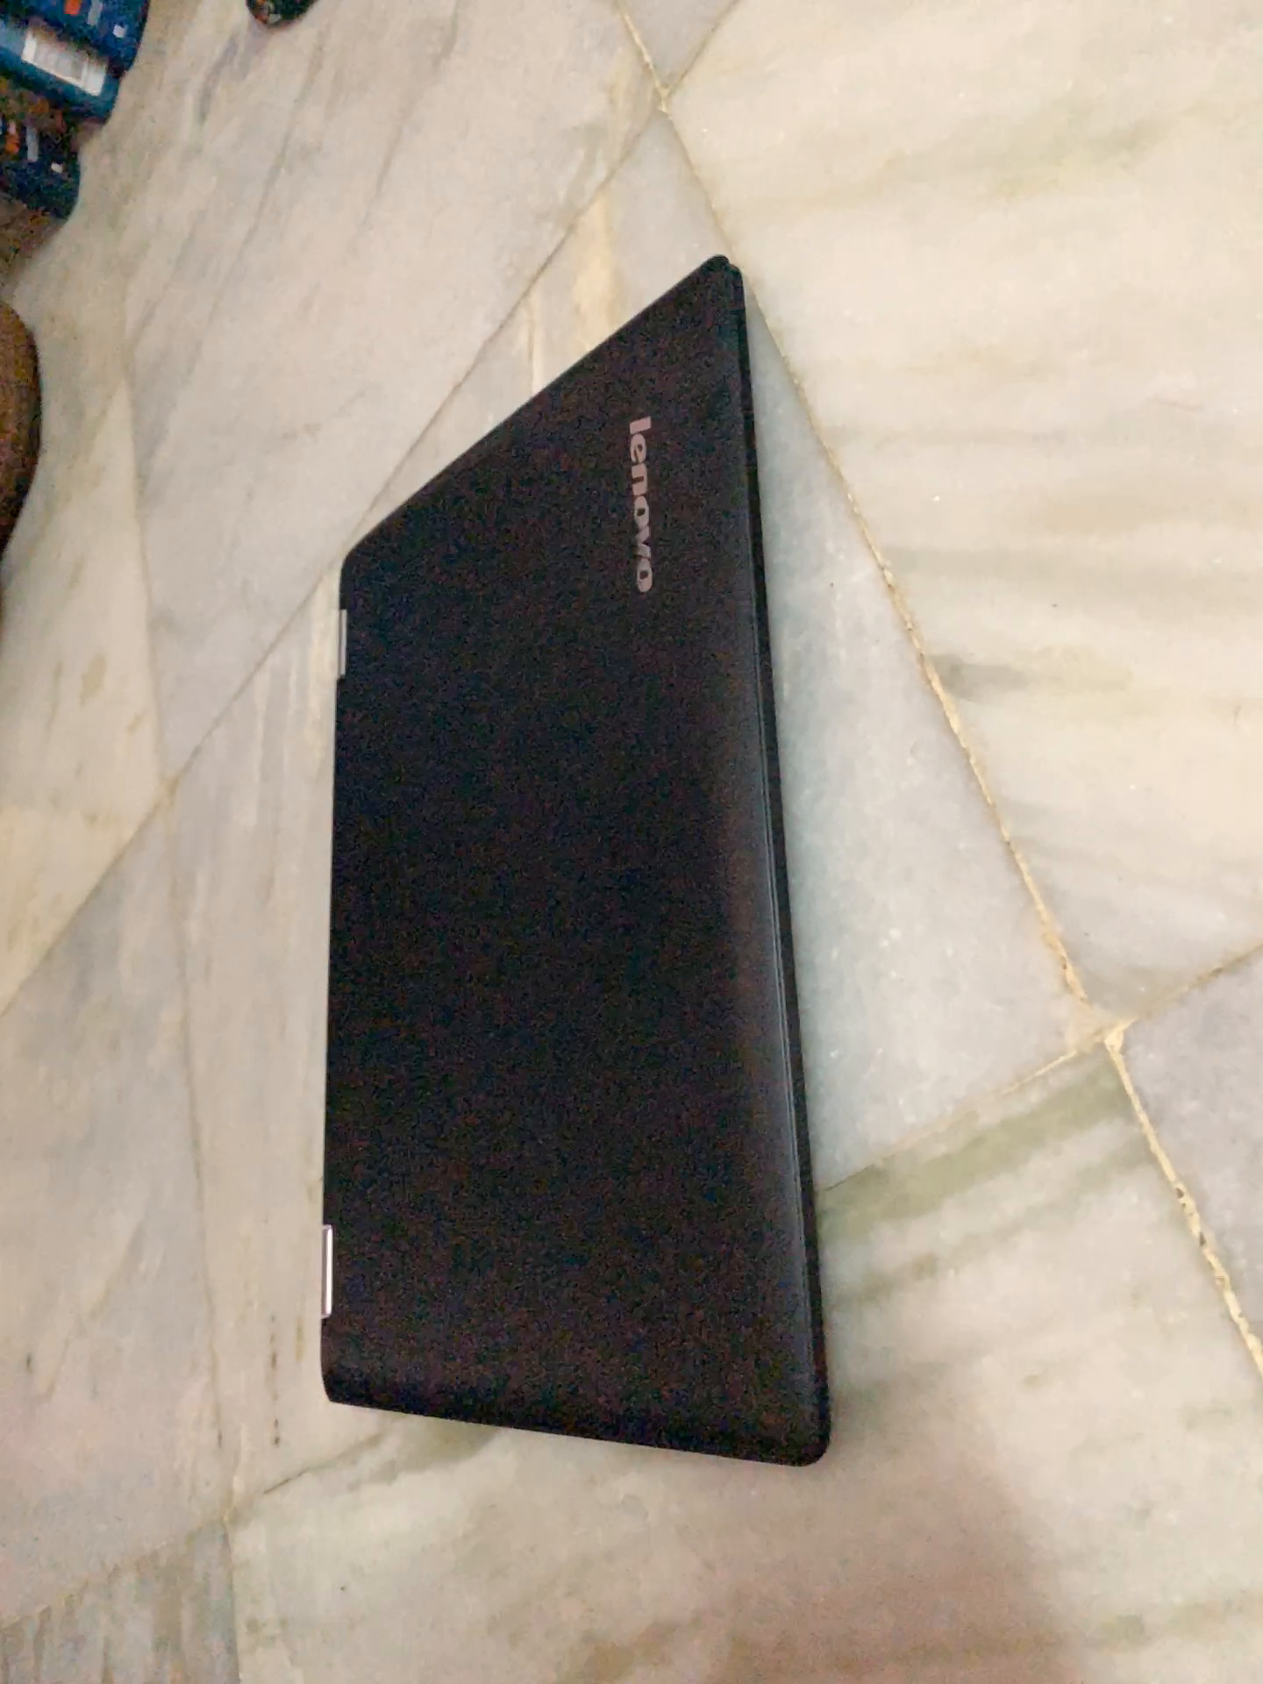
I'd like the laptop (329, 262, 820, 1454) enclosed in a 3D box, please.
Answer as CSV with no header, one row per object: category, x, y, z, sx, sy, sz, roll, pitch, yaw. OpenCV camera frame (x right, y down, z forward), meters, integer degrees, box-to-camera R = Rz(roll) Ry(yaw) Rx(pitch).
laptop,-0.038,0.010,0.421,0.225,0.001,0.325,-20,66,46
